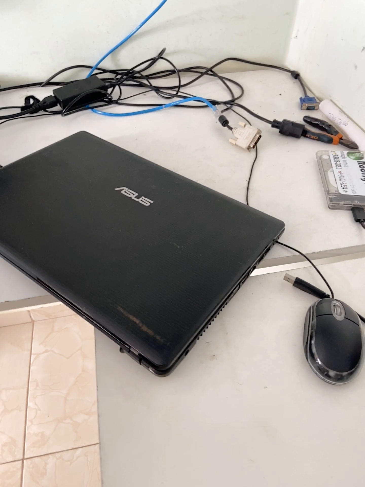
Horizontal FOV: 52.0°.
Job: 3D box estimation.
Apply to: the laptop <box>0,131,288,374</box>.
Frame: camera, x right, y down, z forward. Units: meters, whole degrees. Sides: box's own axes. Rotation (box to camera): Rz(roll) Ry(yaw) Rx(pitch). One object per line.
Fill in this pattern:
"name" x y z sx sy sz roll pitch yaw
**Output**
"laptop" -0.092 -0.038 0.491 0.381 0.010 0.254 29 50 25
